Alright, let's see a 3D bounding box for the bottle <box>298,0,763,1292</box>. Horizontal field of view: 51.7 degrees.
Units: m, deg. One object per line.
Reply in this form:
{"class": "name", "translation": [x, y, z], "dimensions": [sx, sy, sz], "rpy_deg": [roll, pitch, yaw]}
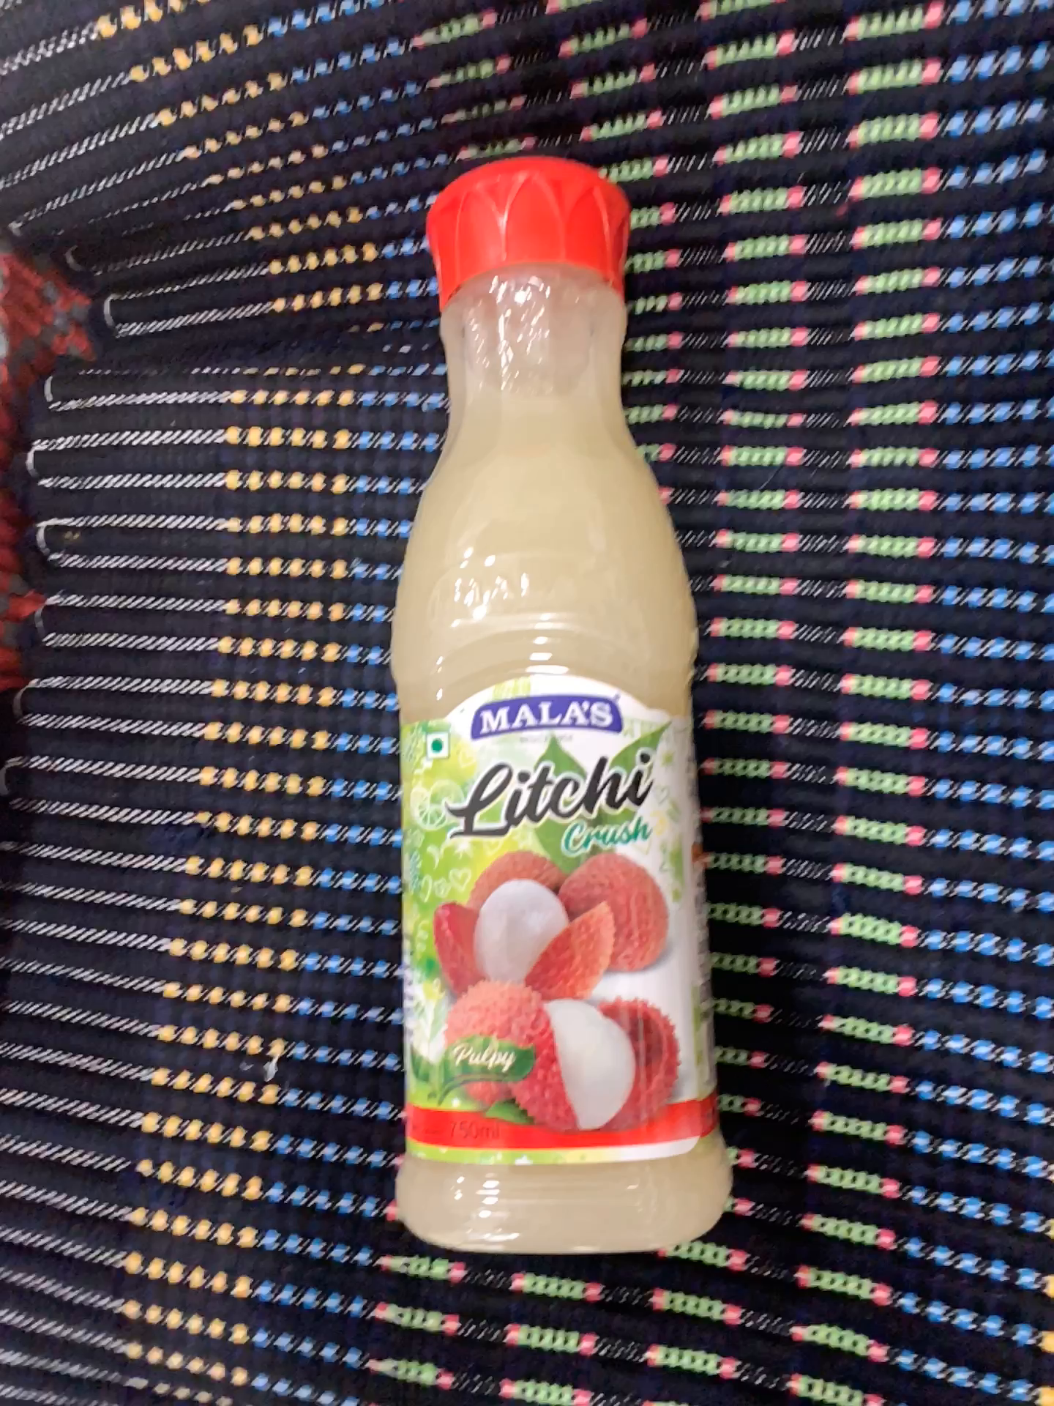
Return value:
{"class": "bottle", "translation": [0.000, -0.022, 0.246], "dimensions": [0.080, 0.080, 0.260], "rpy_deg": [-3, 82, 7]}
